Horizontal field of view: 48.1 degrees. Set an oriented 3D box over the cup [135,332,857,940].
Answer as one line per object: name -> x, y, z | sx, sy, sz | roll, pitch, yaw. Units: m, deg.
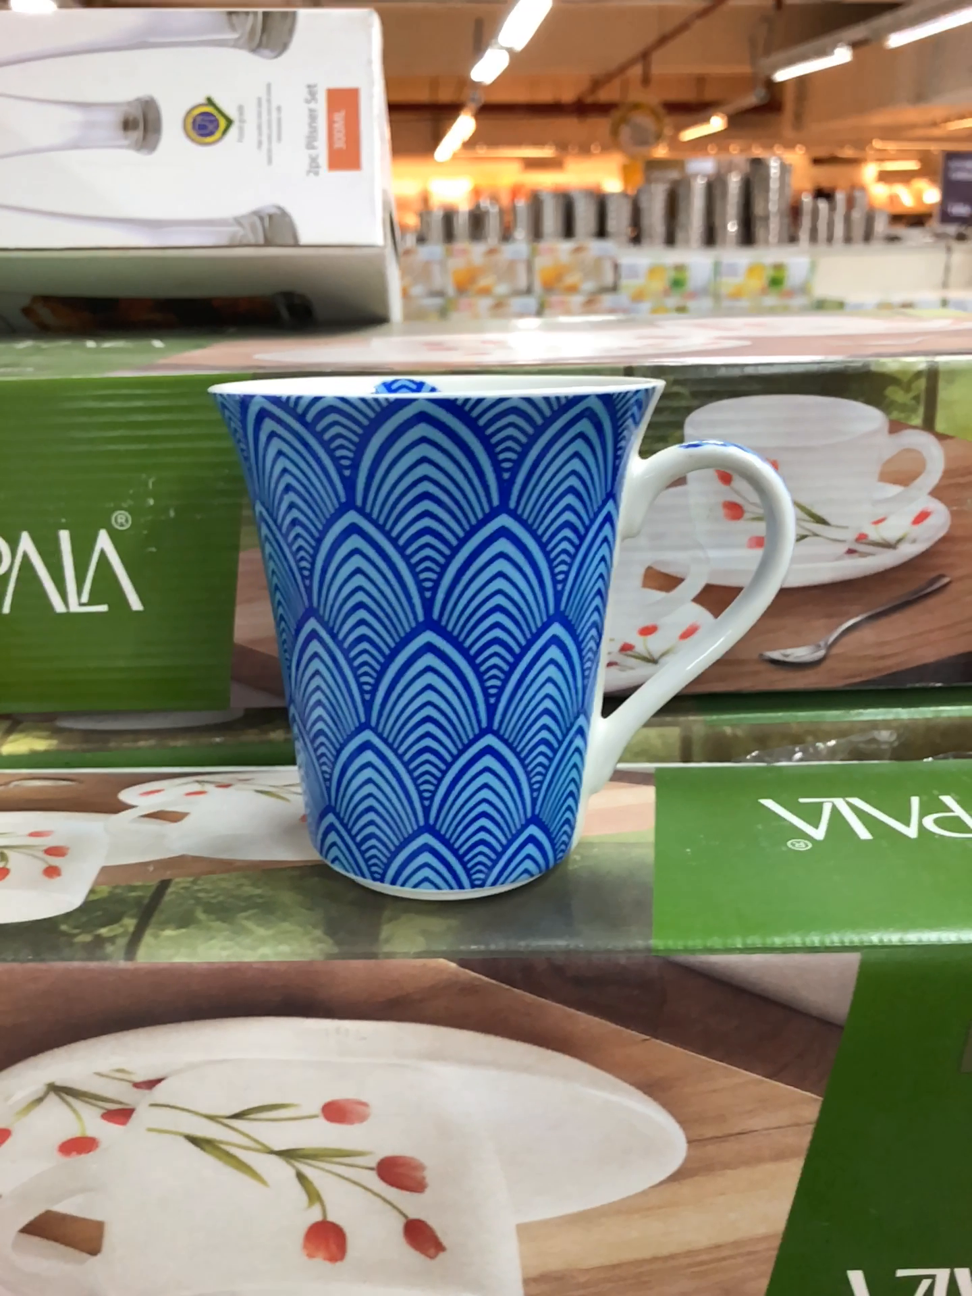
cup -> 0.003, -0.008, 0.221 | 0.110, 0.099, 0.080 | 0, 21, 2
